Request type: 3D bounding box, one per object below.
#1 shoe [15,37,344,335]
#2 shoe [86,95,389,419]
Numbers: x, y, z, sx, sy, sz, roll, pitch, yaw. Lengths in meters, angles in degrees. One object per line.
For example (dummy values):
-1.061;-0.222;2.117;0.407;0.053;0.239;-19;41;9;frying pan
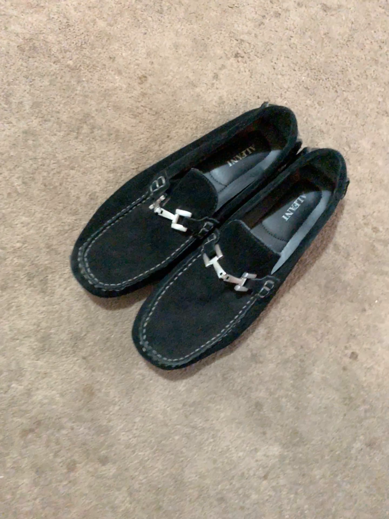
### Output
-0.006;-0.070;0.408;0.311;0.100;0.100;-43;84;-11;shoe
0.057;-0.006;0.392;0.311;0.100;0.100;-43;84;-11;shoe
